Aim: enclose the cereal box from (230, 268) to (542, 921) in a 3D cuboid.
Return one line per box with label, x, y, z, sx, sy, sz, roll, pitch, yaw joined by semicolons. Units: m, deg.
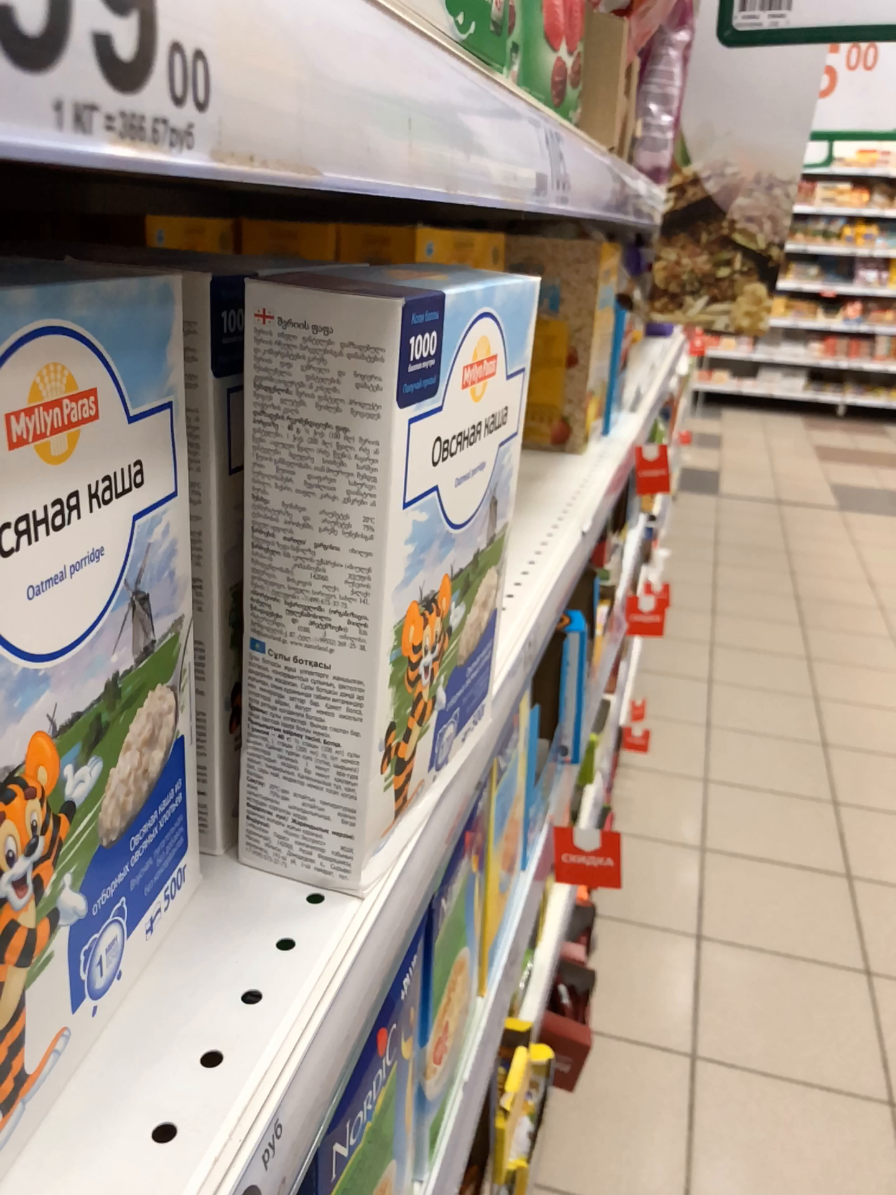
cereal box;-0.020;-0.014;0.383;0.050;0.209;0.151;12;21;18
